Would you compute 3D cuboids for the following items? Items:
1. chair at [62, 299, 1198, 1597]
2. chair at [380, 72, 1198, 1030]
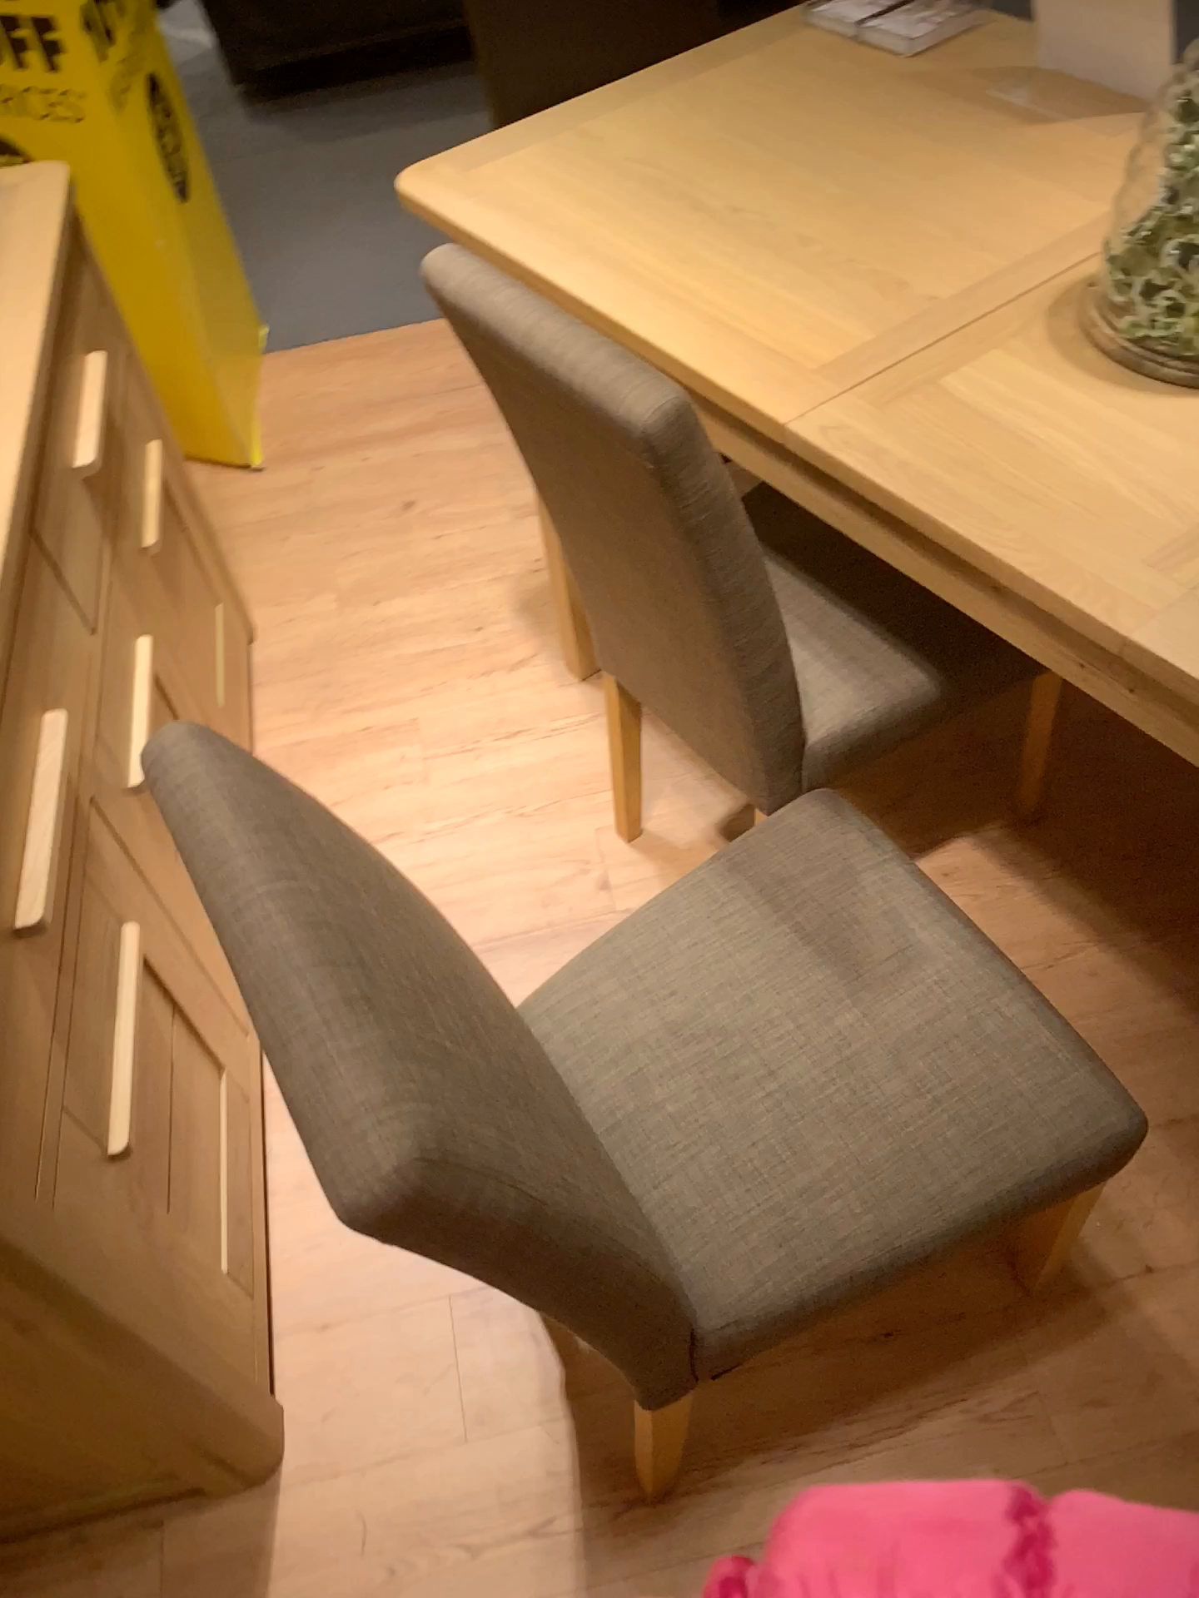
[{"bbox_3d":[0.094,0.199,1.023,0.604,0.885,0.510,-27,52,-15],"label":"chair"},{"bbox_3d":[0.183,-0.247,1.345,0.504,0.766,0.500,-31,53,-18],"label":"chair"}]
